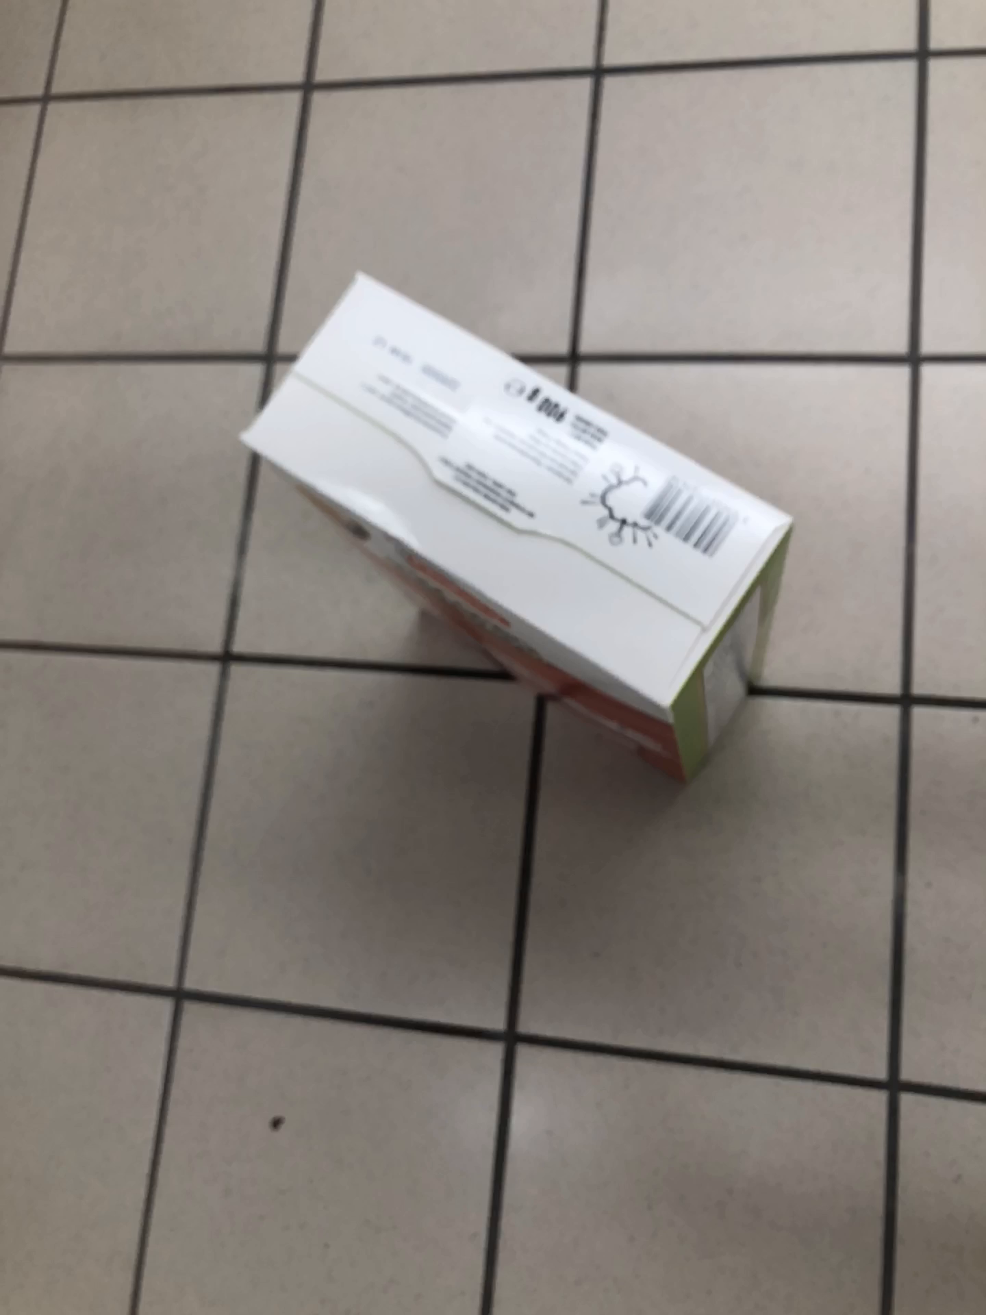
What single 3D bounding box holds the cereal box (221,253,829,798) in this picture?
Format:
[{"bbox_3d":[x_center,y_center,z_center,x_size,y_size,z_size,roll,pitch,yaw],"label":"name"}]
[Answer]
[{"bbox_3d":[0.031,-0.036,0.504,0.200,0.270,0.080,33,87,16],"label":"cereal box"}]
